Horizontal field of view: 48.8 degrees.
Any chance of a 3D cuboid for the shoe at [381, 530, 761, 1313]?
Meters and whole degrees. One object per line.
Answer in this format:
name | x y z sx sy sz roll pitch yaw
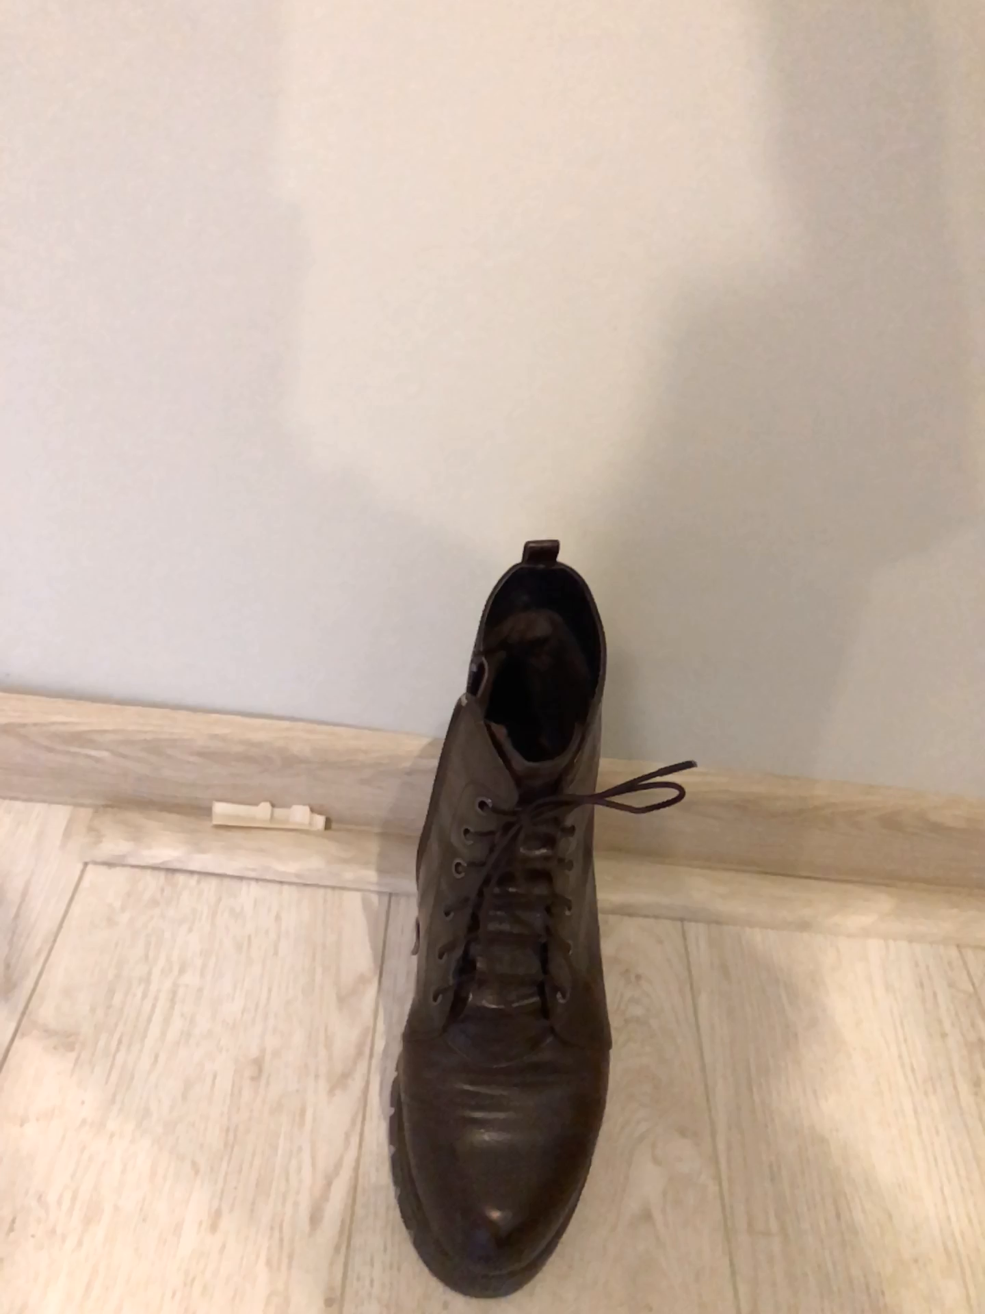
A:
shoe | 0.017 0.110 0.445 0.100 0.179 0.262 5 56 -5
